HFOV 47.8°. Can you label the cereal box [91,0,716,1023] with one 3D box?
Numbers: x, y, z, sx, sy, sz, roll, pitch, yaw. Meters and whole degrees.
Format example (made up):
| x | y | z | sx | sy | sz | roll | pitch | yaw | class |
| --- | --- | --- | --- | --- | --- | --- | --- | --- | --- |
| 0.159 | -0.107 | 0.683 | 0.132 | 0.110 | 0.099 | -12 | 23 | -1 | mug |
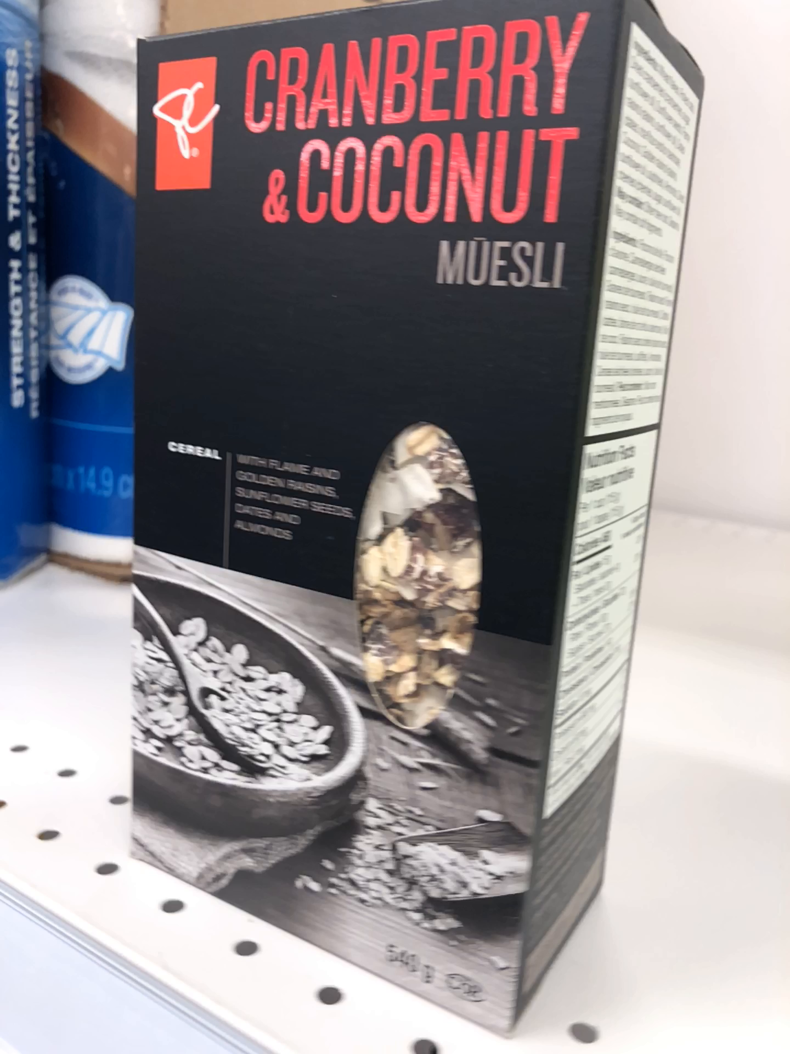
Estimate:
| x | y | z | sx | sy | sz | roll | pitch | yaw | class |
| --- | --- | --- | --- | --- | --- | --- | --- | --- | --- |
| -0.004 | -0.014 | 0.218 | 0.120 | 0.200 | 0.070 | 10 | 12 | 30 | cereal box |
